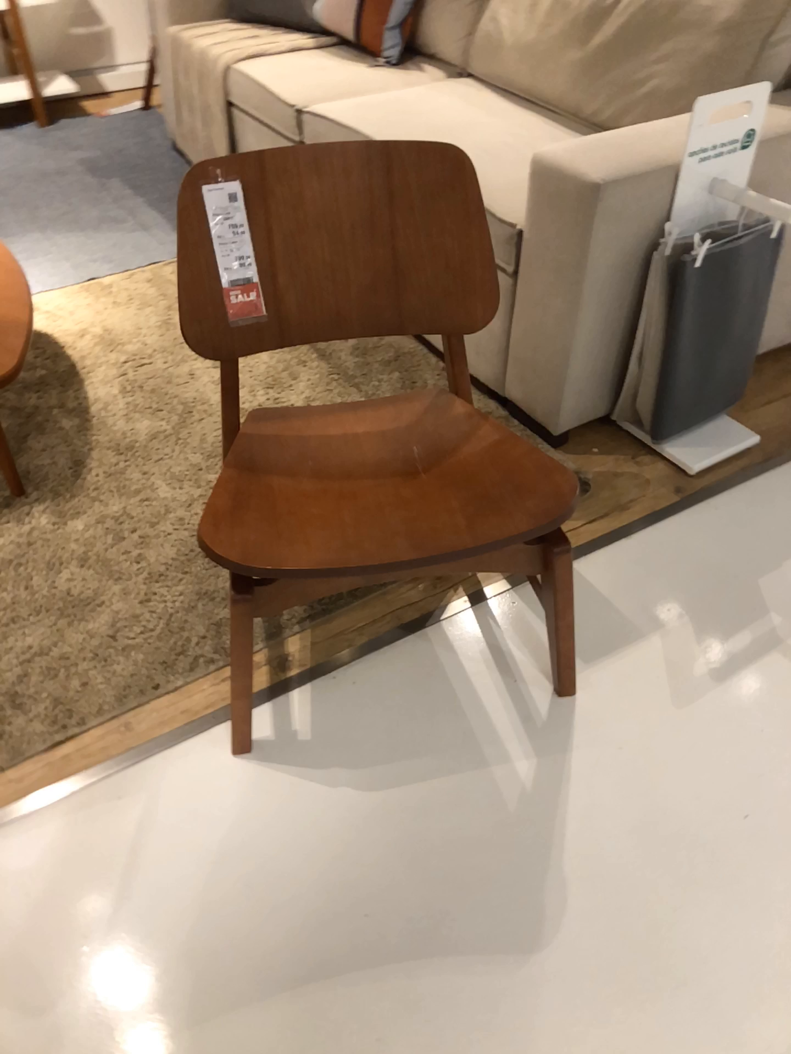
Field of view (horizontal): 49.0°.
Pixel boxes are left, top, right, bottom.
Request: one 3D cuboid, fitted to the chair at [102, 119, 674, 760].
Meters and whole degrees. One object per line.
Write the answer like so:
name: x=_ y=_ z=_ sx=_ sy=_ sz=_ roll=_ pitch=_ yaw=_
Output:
chair: x=-0.055 y=-0.155 z=1.314 sx=0.580 sy=0.655 sz=0.635 roll=-8 pitch=42 yaw=-9
